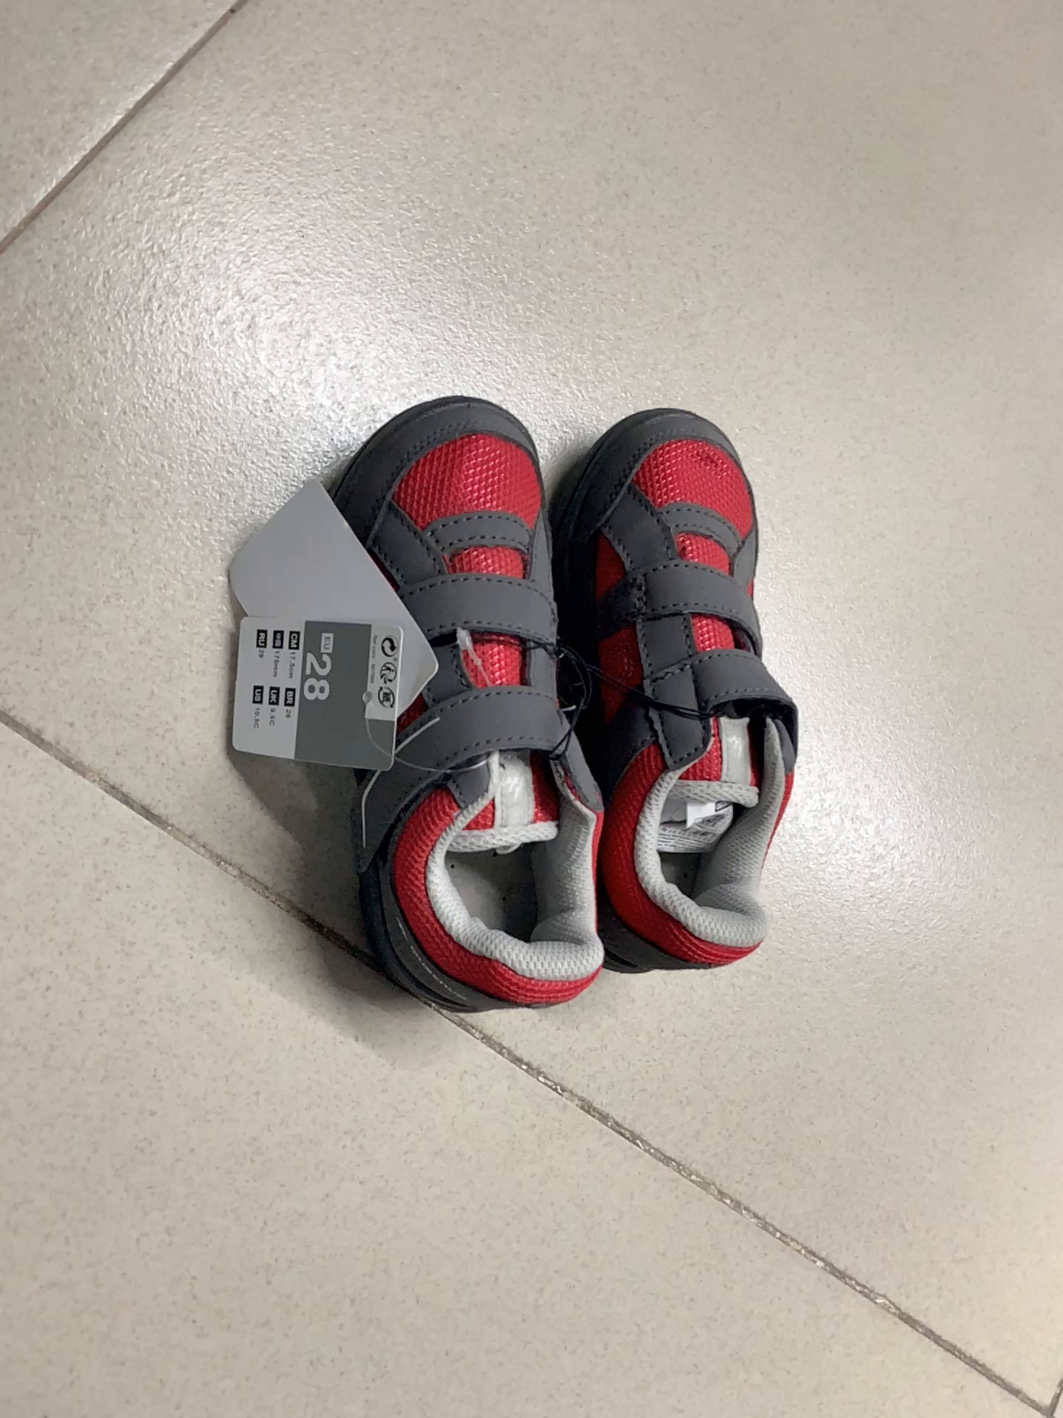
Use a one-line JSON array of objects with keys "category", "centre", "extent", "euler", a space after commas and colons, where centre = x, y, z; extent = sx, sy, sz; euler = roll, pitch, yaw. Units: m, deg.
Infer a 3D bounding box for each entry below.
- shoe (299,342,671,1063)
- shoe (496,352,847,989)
[{"category": "shoe", "centre": [-0.017, -0.002, 0.326], "extent": [0.080, 0.080, 0.180], "euler": [-2, 90, -28]}, {"category": "shoe", "centre": [0.047, -0.009, 0.378], "extent": [0.080, 0.080, 0.190], "euler": [4, 87, -28]}]
